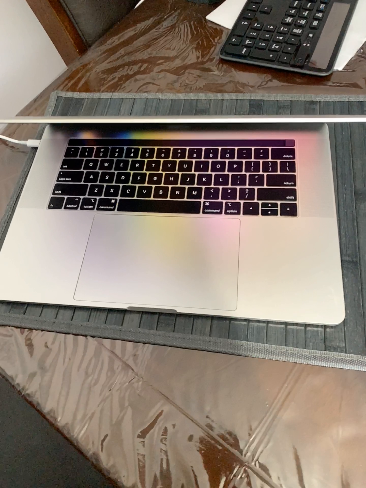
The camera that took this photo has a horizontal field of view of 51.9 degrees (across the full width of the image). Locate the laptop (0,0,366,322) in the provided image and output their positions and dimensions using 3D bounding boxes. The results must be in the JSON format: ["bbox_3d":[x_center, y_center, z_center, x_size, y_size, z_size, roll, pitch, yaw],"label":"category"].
[{"bbox_3d":[-0.024,-0.082,0.333,0.339,0.164,0.234,3,62,9],"label":"laptop"}]
